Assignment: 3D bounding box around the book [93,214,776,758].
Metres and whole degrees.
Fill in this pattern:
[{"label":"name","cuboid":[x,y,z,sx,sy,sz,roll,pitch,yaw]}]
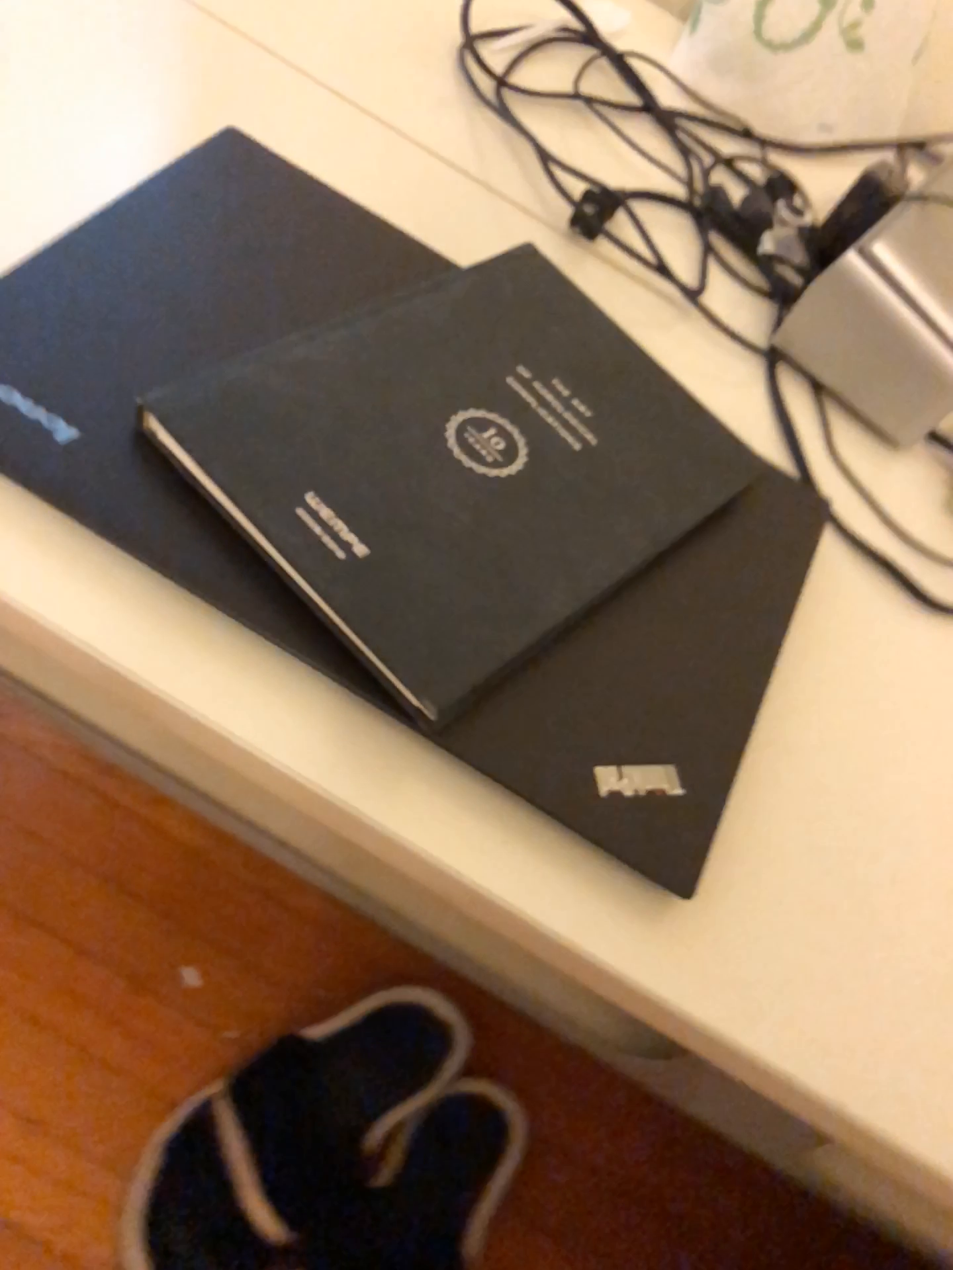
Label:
[{"label":"book","cuboid":[-0.004,-0.078,0.425,0.170,0.030,0.221,45,51,11]}]
